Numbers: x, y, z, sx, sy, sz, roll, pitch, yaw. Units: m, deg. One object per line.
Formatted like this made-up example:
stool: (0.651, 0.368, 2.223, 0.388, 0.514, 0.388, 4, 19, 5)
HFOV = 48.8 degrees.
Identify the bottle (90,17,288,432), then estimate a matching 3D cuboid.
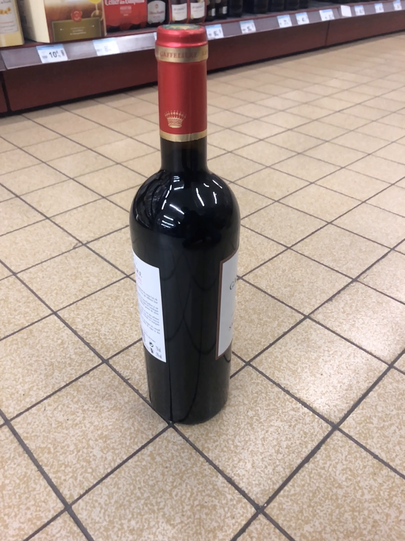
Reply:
bottle: (-0.009, -0.013, 0.321, 0.090, 0.287, 0.091, 1, 35, 0)
